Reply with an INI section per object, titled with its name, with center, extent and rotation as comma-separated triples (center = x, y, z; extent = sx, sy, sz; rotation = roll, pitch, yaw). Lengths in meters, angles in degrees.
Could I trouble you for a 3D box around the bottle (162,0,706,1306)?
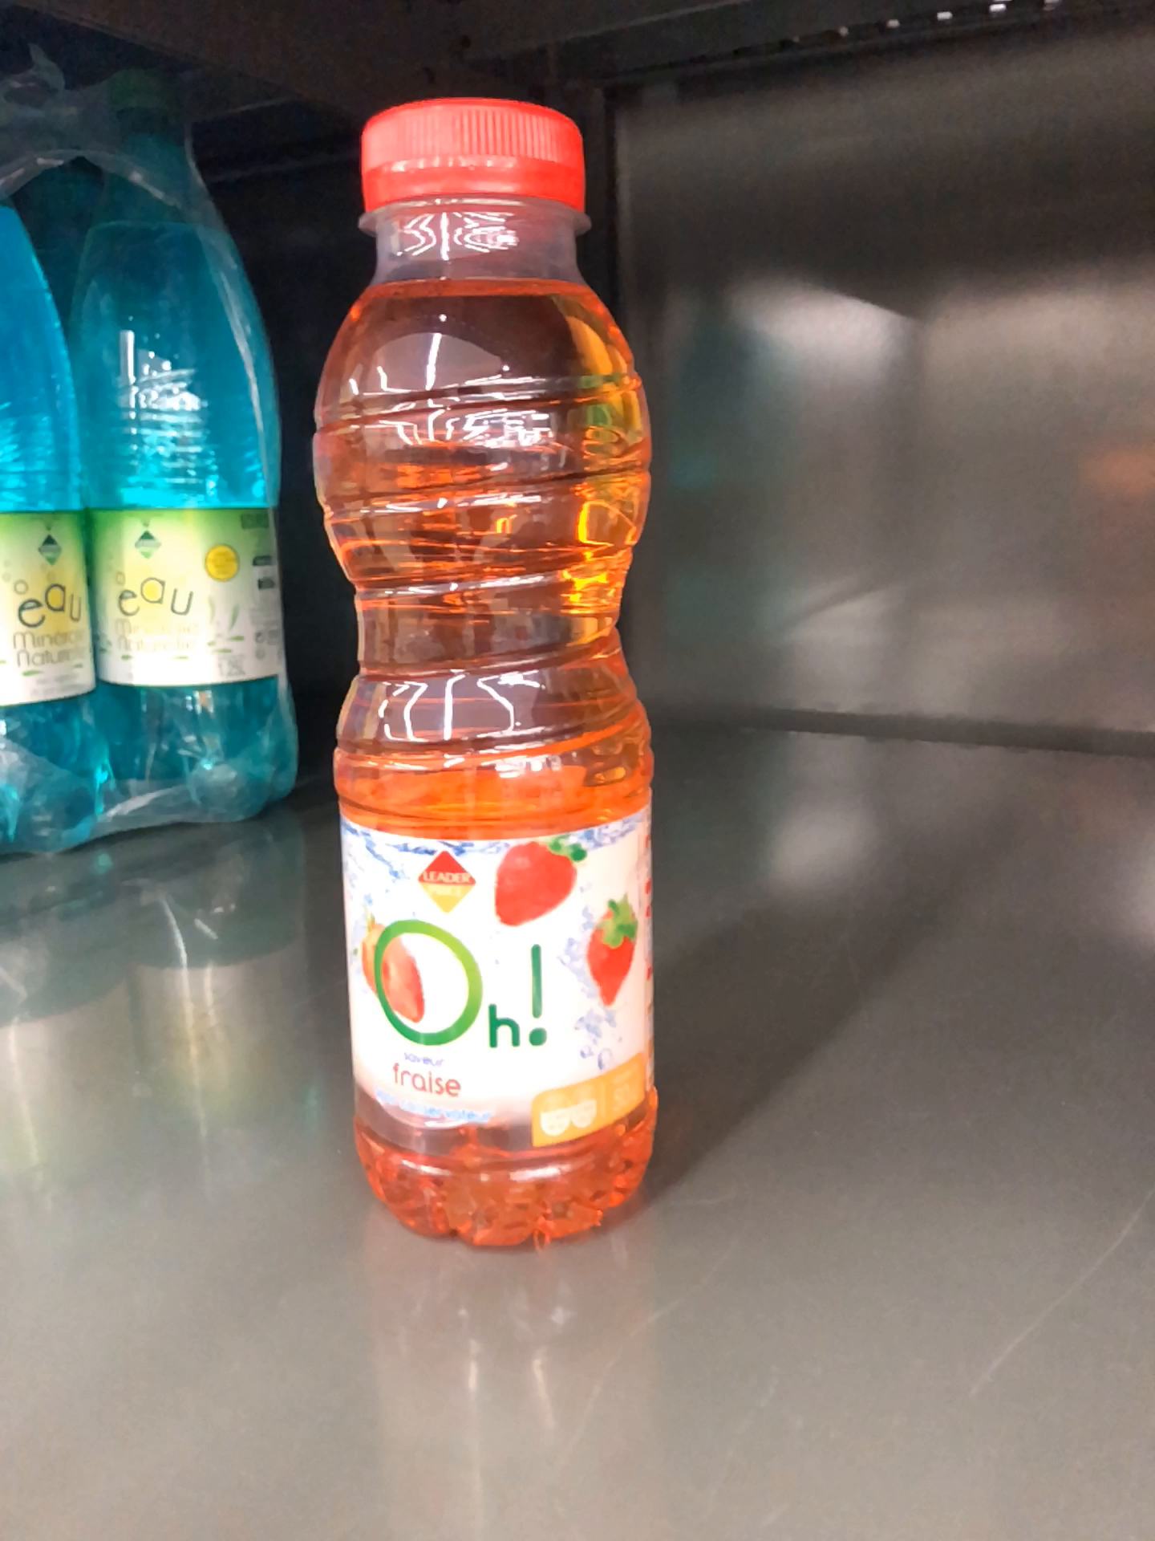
[bottle]
center = -0.020, -0.020, 0.238
extent = 0.070, 0.209, 0.060
rotation = 5, 13, 26
